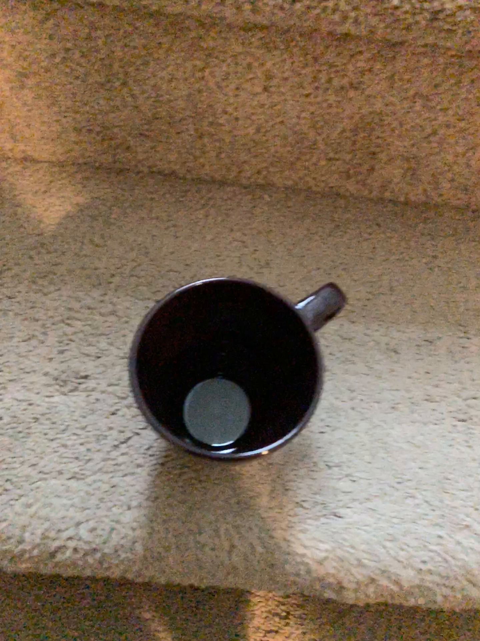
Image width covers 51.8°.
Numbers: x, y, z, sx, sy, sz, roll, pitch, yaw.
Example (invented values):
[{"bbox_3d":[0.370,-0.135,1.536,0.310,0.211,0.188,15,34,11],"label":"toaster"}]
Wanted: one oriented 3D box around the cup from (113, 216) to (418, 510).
[{"bbox_3d":[0.009,0.027,0.263,0.110,0.099,0.080,-31,70,-19],"label":"cup"}]
